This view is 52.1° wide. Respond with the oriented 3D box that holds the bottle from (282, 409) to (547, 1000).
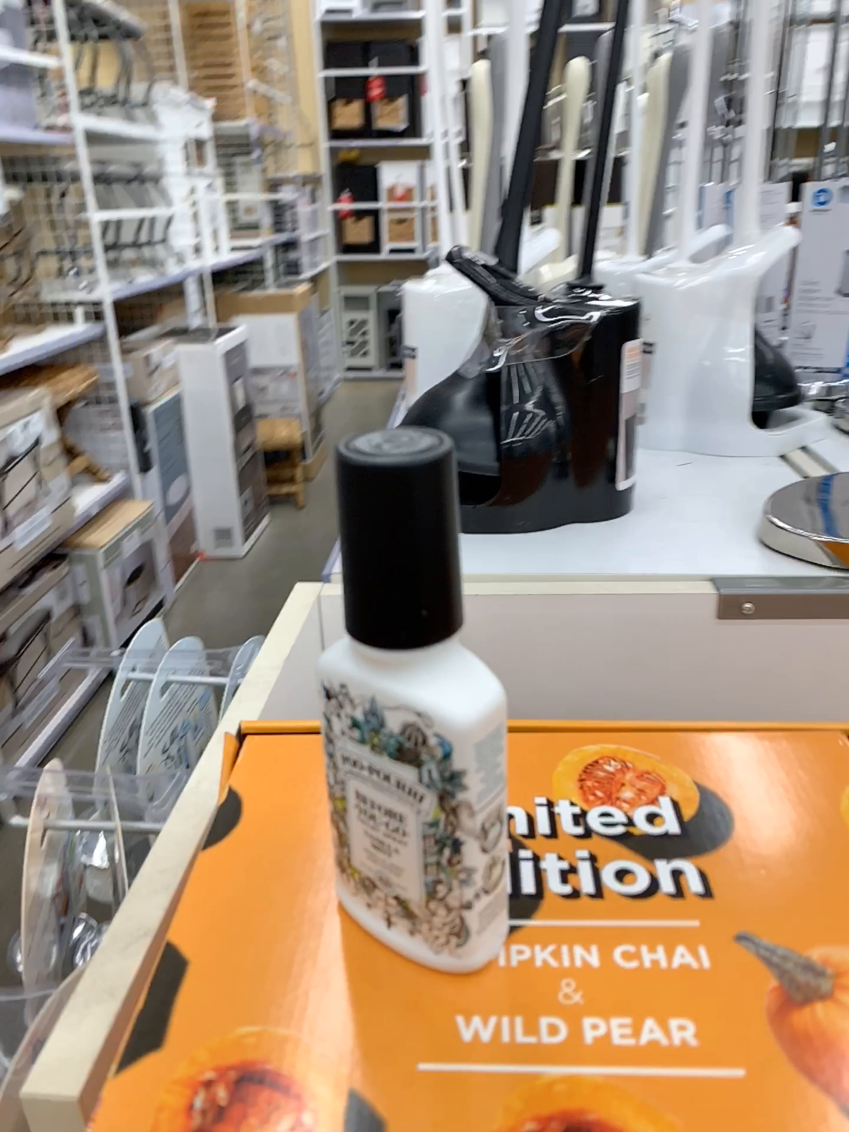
[{"bbox_3d":[0.000,0.039,0.238,0.055,0.151,0.033,15,28,35],"label":"bottle"}]
